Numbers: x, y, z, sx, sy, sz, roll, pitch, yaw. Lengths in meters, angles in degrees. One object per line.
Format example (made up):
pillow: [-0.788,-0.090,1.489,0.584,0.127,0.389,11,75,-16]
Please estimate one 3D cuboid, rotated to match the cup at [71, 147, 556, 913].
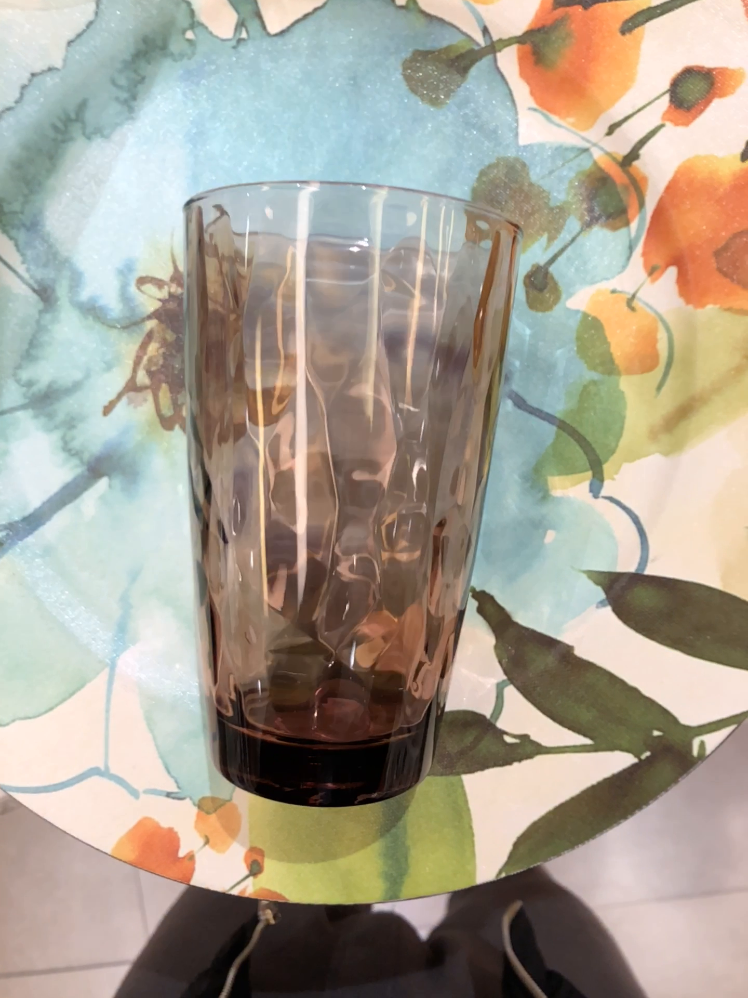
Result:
cup: [-0.010,0.005,0.211,0.090,0.080,0.150,4,90,5]
